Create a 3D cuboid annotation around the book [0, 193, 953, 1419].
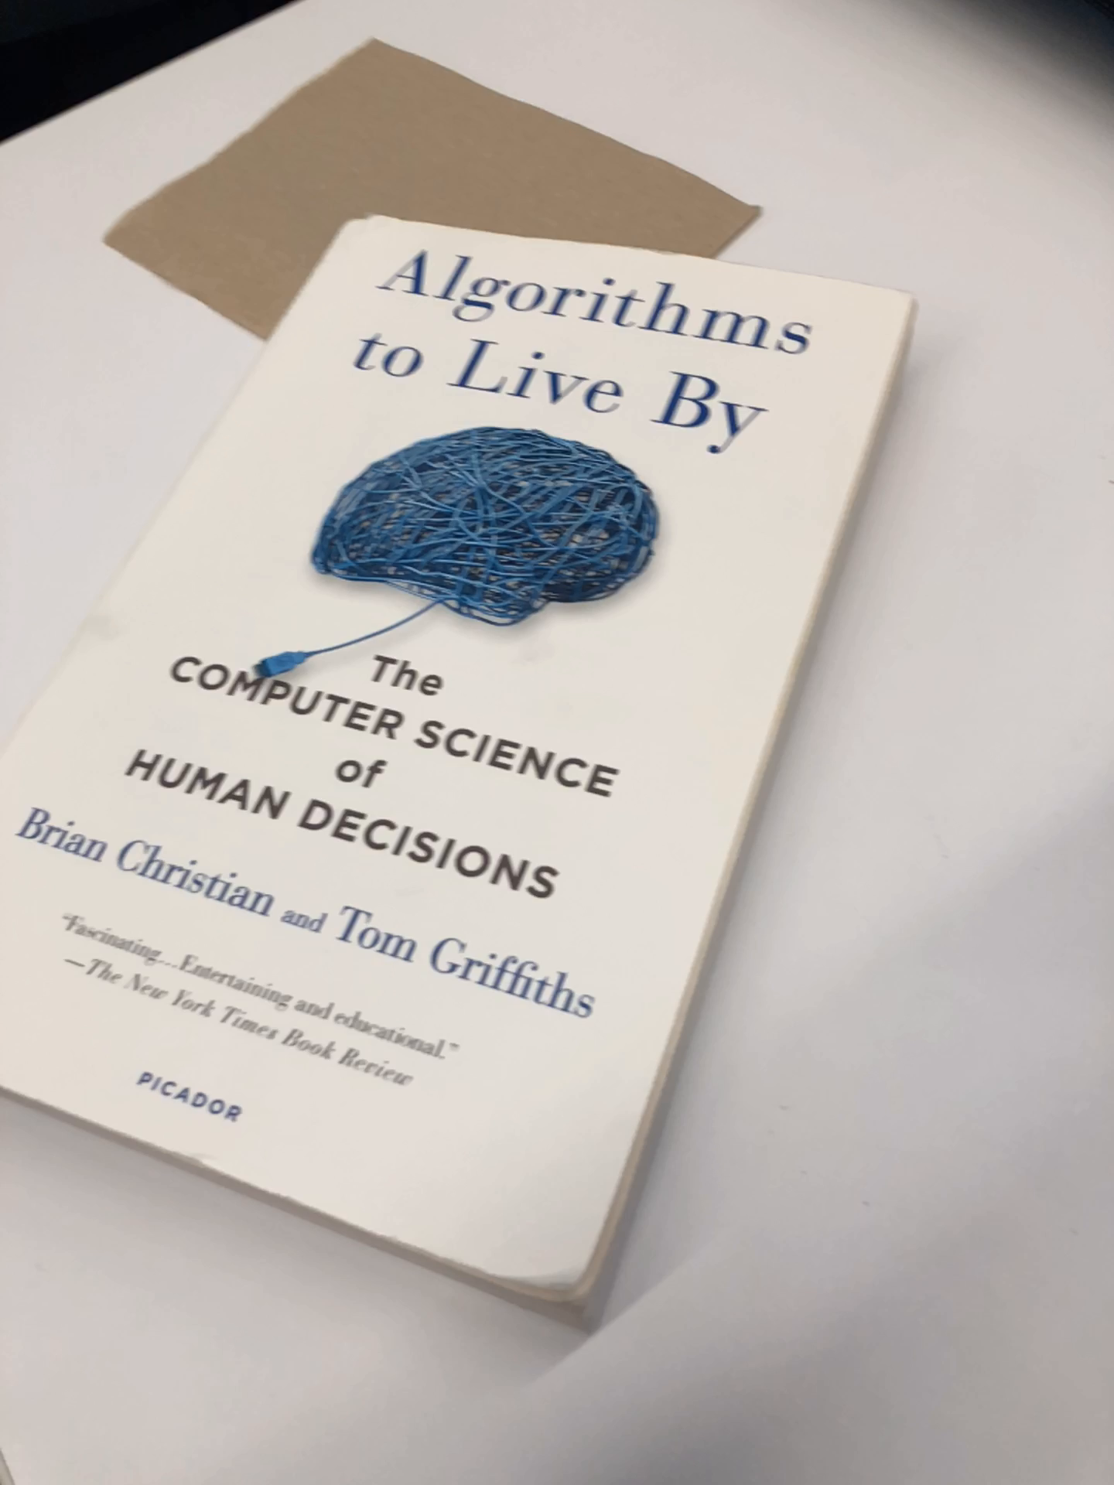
[{"bbox_3d":[-0.028,-0.015,0.249,0.160,0.040,0.220,14,62,17],"label":"book"}]
